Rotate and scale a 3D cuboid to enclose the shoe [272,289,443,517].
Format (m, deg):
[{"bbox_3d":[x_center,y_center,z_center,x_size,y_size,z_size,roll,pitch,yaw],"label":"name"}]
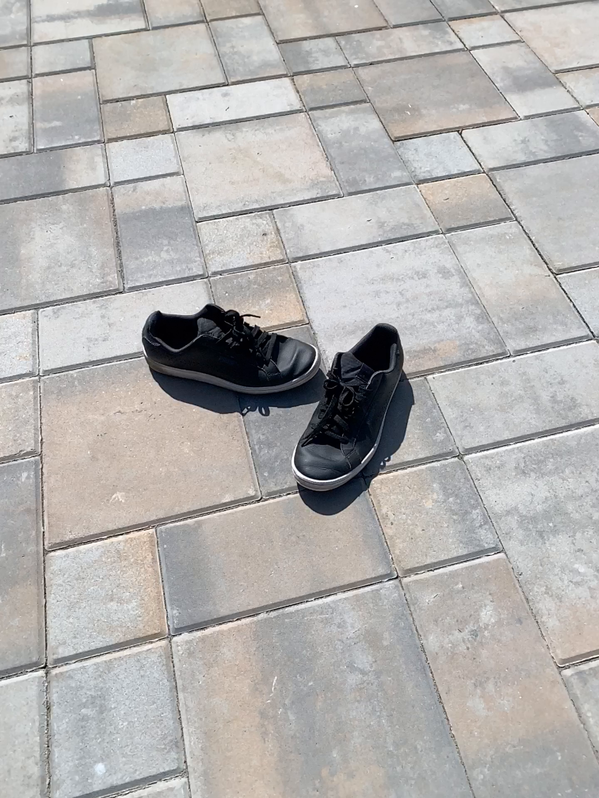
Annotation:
[{"bbox_3d":[0.081,-0.002,0.817,0.110,0.100,0.280,24,60,15],"label":"shoe"}]

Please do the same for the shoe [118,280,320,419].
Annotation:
[{"bbox_3d":[-0.106,-0.070,0.871,0.250,0.110,0.110,11,57,7],"label":"shoe"}]
